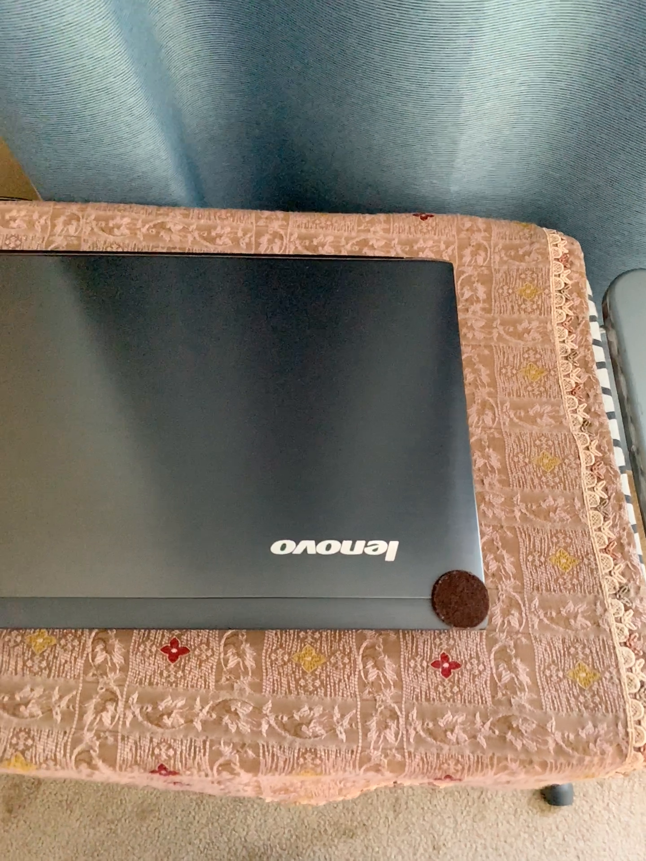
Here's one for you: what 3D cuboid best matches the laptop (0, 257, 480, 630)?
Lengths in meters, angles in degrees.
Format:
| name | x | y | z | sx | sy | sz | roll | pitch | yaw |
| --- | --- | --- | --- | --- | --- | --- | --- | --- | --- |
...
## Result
| name | x | y | z | sx | sy | sz | roll | pitch | yaw |
| --- | --- | --- | --- | --- | --- | --- | --- | --- | --- |
| laptop | -0.097 | -0.003 | 0.378 | 0.356 | 0.011 | 0.223 | 0 | 68 | 1 |
